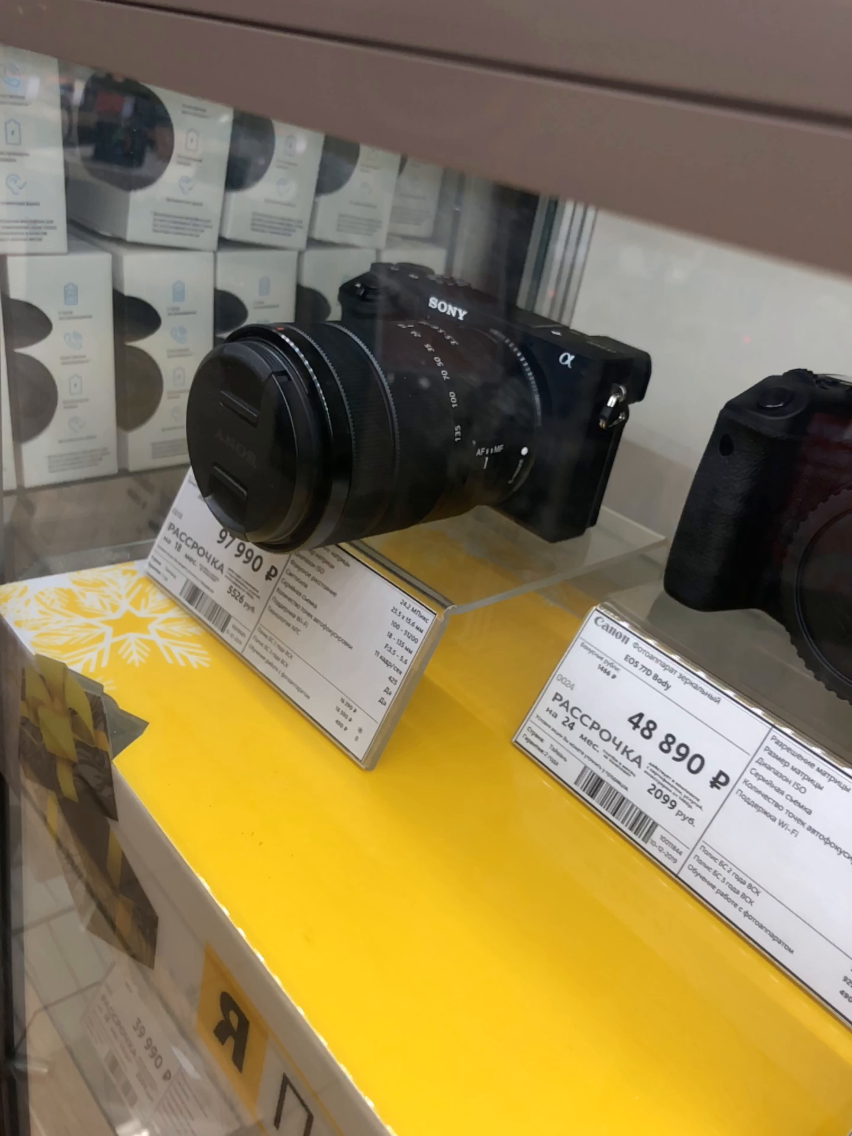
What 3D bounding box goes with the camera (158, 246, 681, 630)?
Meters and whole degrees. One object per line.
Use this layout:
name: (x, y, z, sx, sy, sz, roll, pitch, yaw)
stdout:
camera: (-0.009, -0.057, 0.340, 0.123, 0.080, 0.130, -12, 34, -37)
